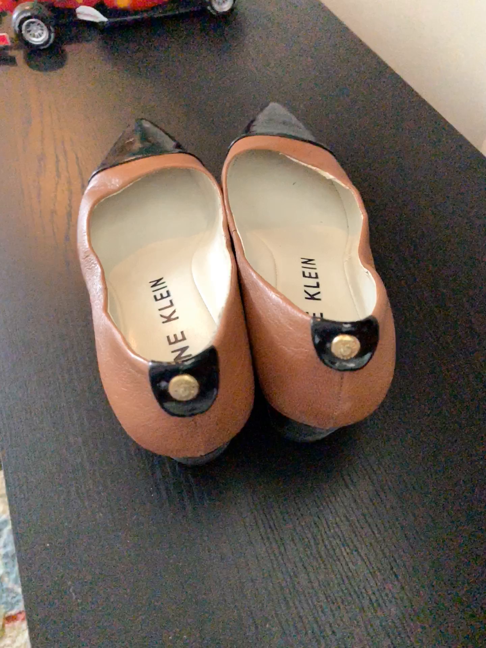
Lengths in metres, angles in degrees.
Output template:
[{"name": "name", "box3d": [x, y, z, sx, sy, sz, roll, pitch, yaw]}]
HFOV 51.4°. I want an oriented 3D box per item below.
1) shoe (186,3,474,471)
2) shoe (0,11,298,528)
[{"name": "shoe", "box3d": [0.023, -0.065, 0.267, 0.092, 0.079, 0.262, 0, 55, -3]}, {"name": "shoe", "box3d": [-0.057, -0.048, 0.267, 0.092, 0.099, 0.262, -9, 56, -9]}]
